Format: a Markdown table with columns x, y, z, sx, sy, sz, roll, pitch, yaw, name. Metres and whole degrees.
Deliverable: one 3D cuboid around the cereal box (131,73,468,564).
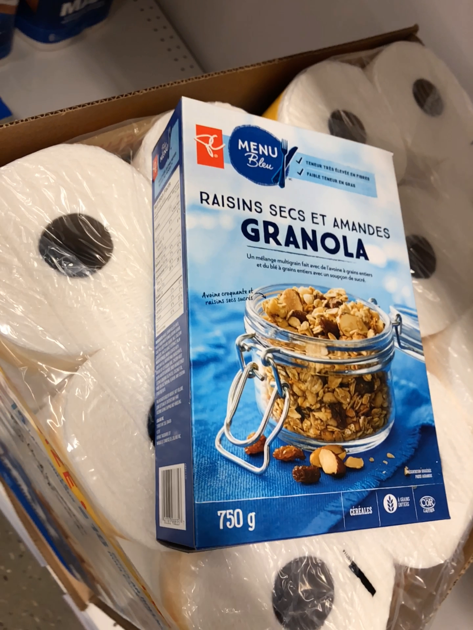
| x | y | z | sx | sy | sz | roll | pitch | yaw | name |
| --- | --- | --- | --- | --- | --- | --- | --- | --- | --- |
| 0.029 | 0.000 | 0.317 | 0.171 | 0.060 | 0.250 | 5 | 70 | -25 | cereal box |
